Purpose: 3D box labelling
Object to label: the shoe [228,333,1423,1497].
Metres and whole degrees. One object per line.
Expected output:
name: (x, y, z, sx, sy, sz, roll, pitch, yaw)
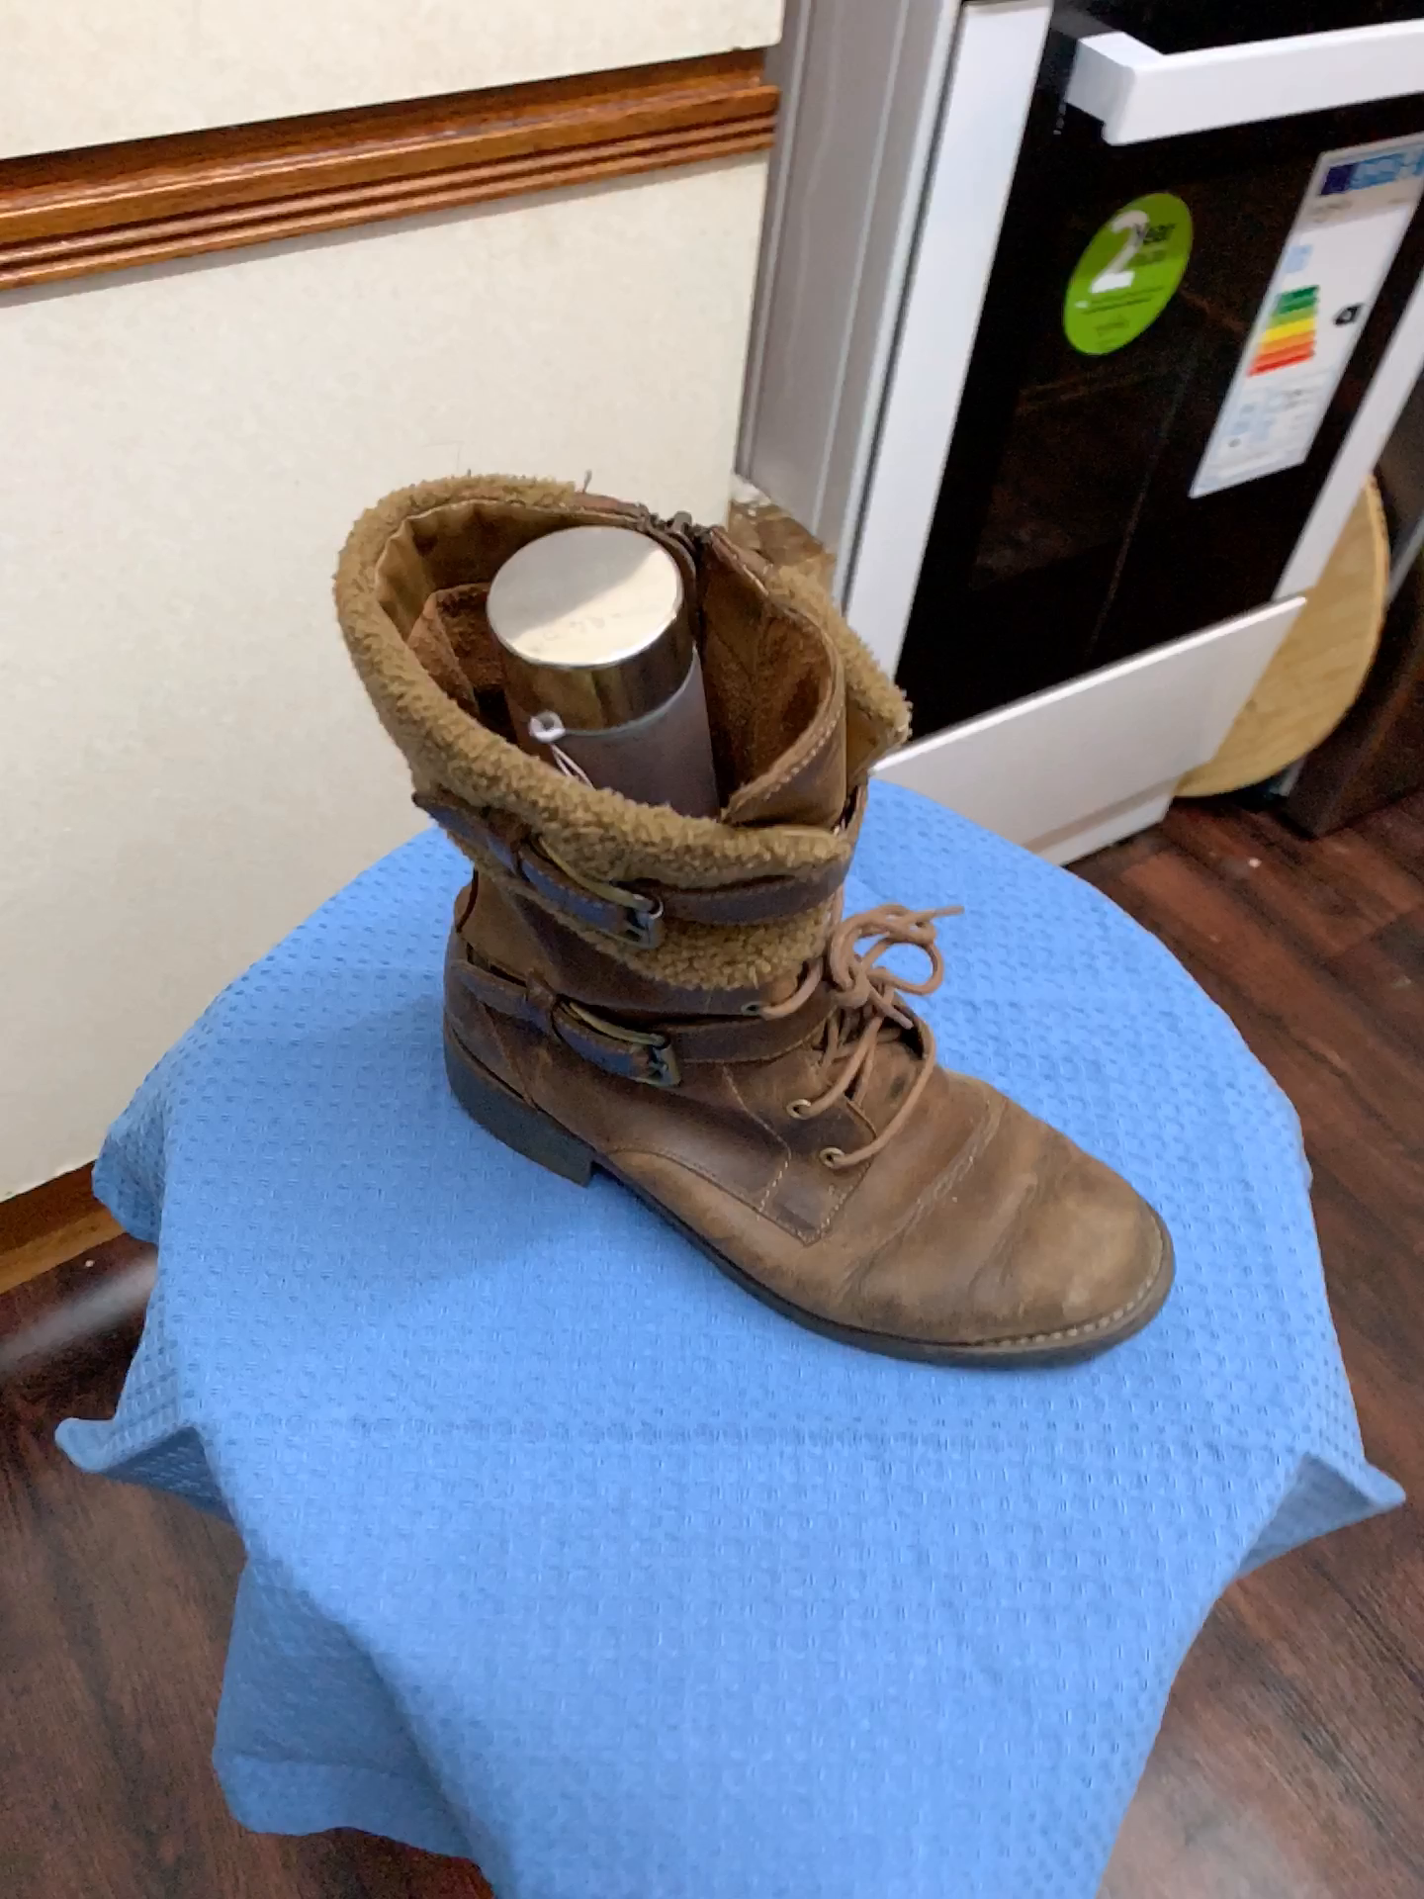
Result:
shoe: (0.034, 0.004, 0.399, 0.250, 0.228, 0.121, 25, 59, 15)
